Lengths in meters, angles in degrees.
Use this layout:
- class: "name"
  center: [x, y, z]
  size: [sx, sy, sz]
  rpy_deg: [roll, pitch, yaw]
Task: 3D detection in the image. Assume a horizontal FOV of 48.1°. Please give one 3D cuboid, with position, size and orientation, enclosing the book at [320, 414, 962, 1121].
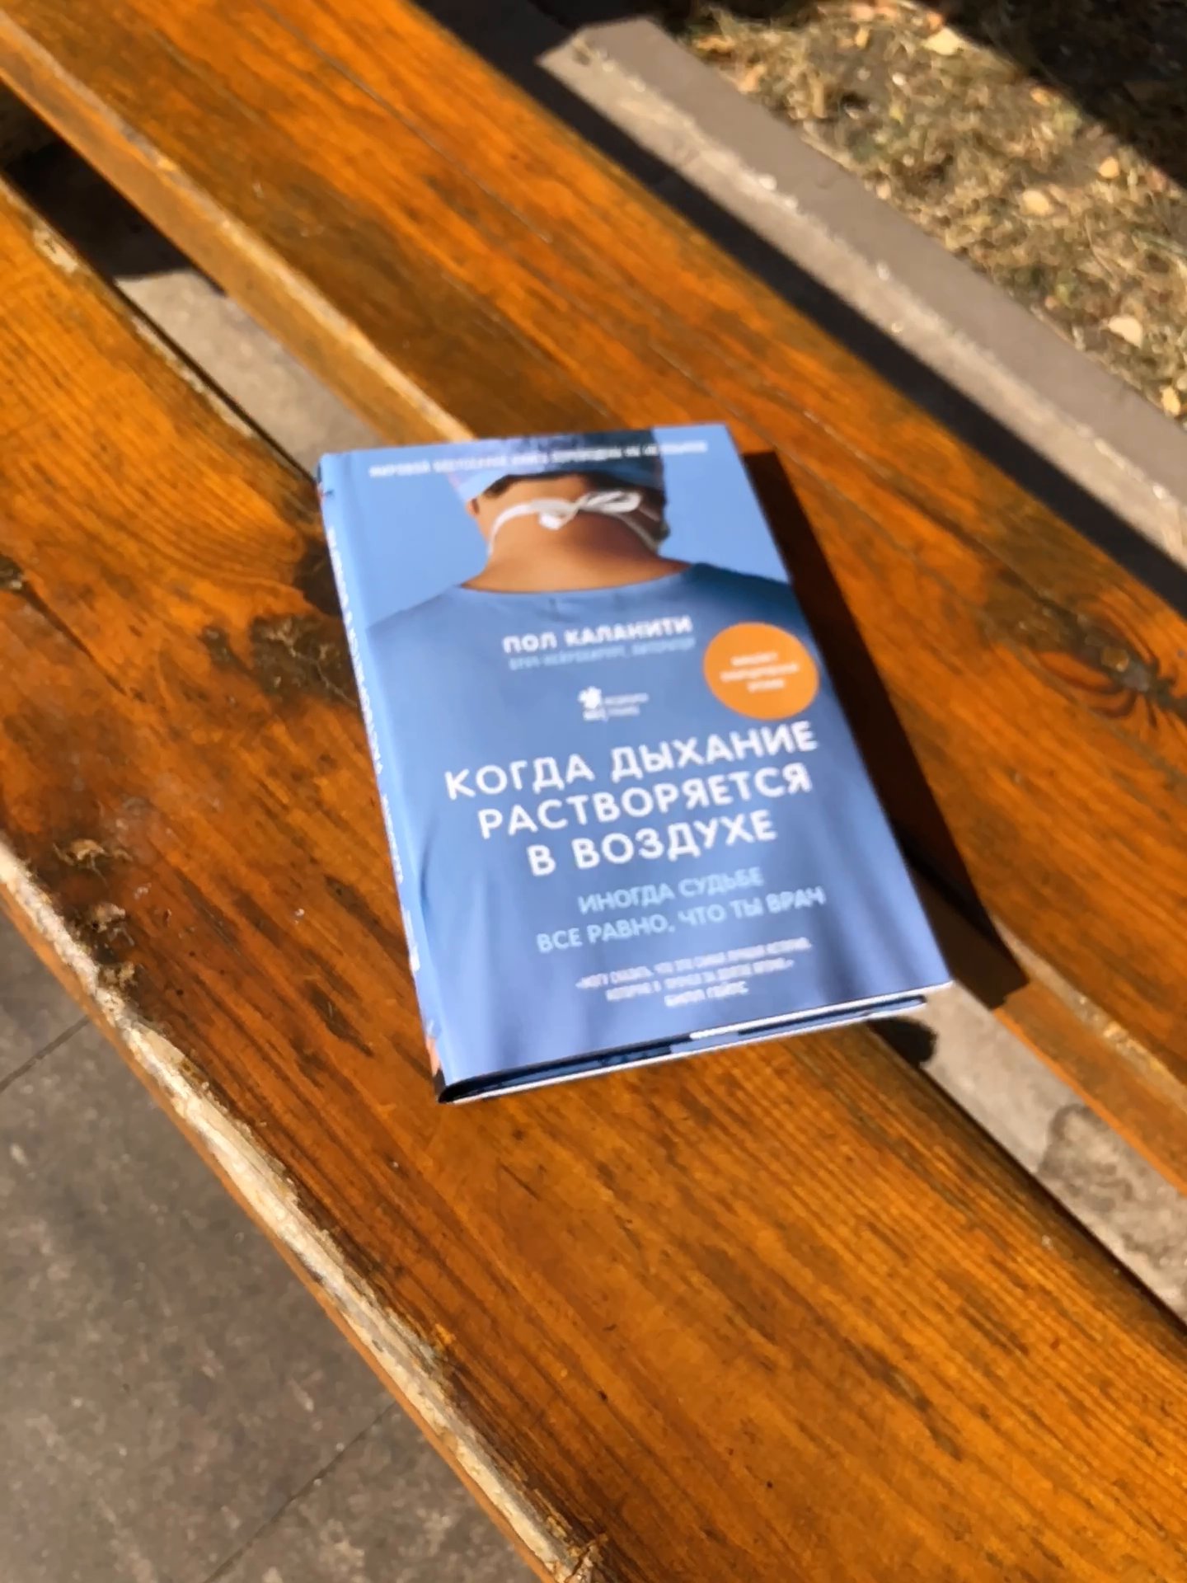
- class: "book"
  center: [0.004, -0.021, 0.395]
  size: [0.140, 0.025, 0.211]
  rpy_deg: [-8, 62, -13]
